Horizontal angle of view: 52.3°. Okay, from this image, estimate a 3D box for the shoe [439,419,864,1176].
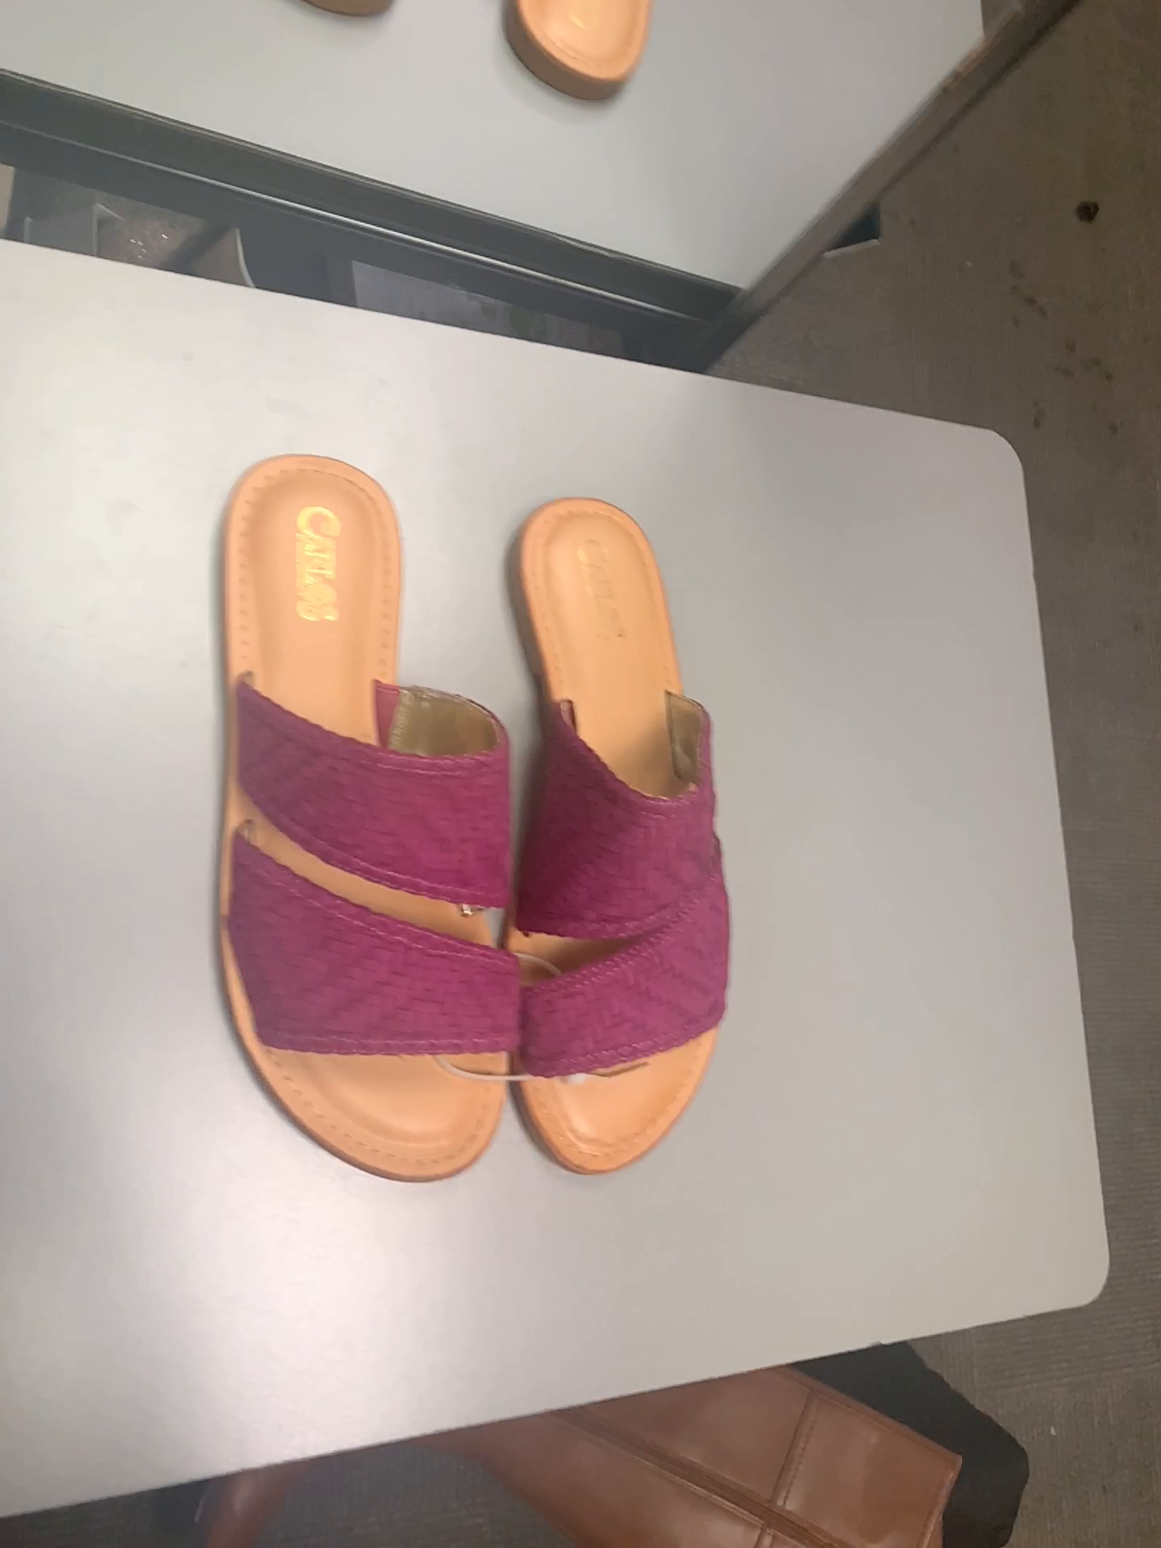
[{"bbox_3d":[0.018,0.009,0.416,0.109,0.071,0.238,3,73,-26],"label":"shoe"}]

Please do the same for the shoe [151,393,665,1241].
[{"bbox_3d":[-0.062,0.008,0.377,0.109,0.071,0.238,-5,77,-27],"label":"shoe"}]
